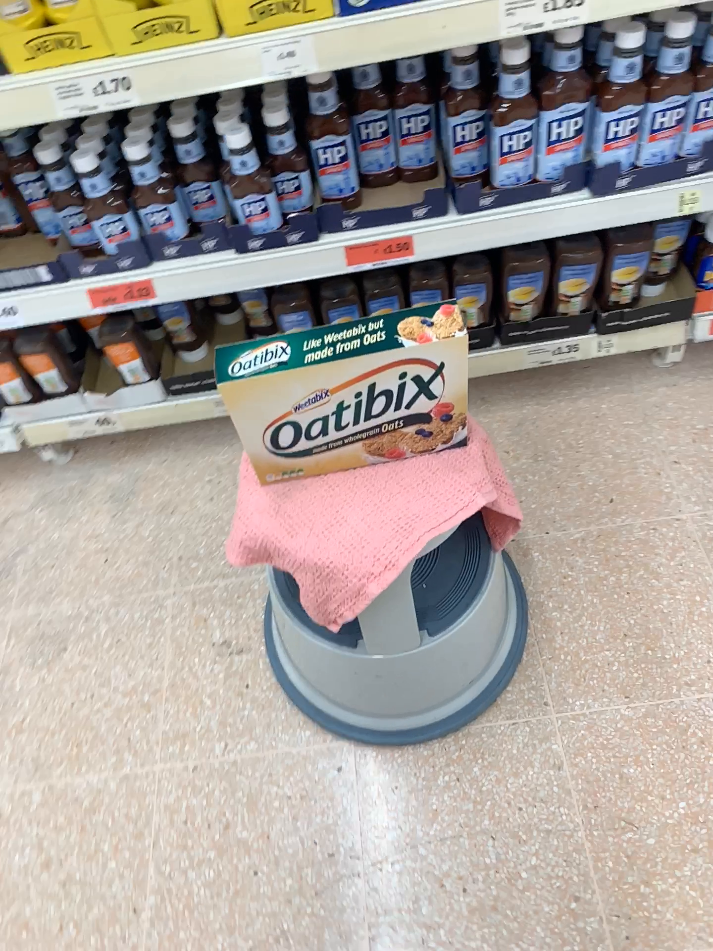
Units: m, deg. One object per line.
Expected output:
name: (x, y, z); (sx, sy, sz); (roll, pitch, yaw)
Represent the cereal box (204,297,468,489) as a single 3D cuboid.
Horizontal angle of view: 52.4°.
cereal box: (-0.013, -0.086, 0.828); (0.270, 0.189, 0.060); (-11, 56, 2)
